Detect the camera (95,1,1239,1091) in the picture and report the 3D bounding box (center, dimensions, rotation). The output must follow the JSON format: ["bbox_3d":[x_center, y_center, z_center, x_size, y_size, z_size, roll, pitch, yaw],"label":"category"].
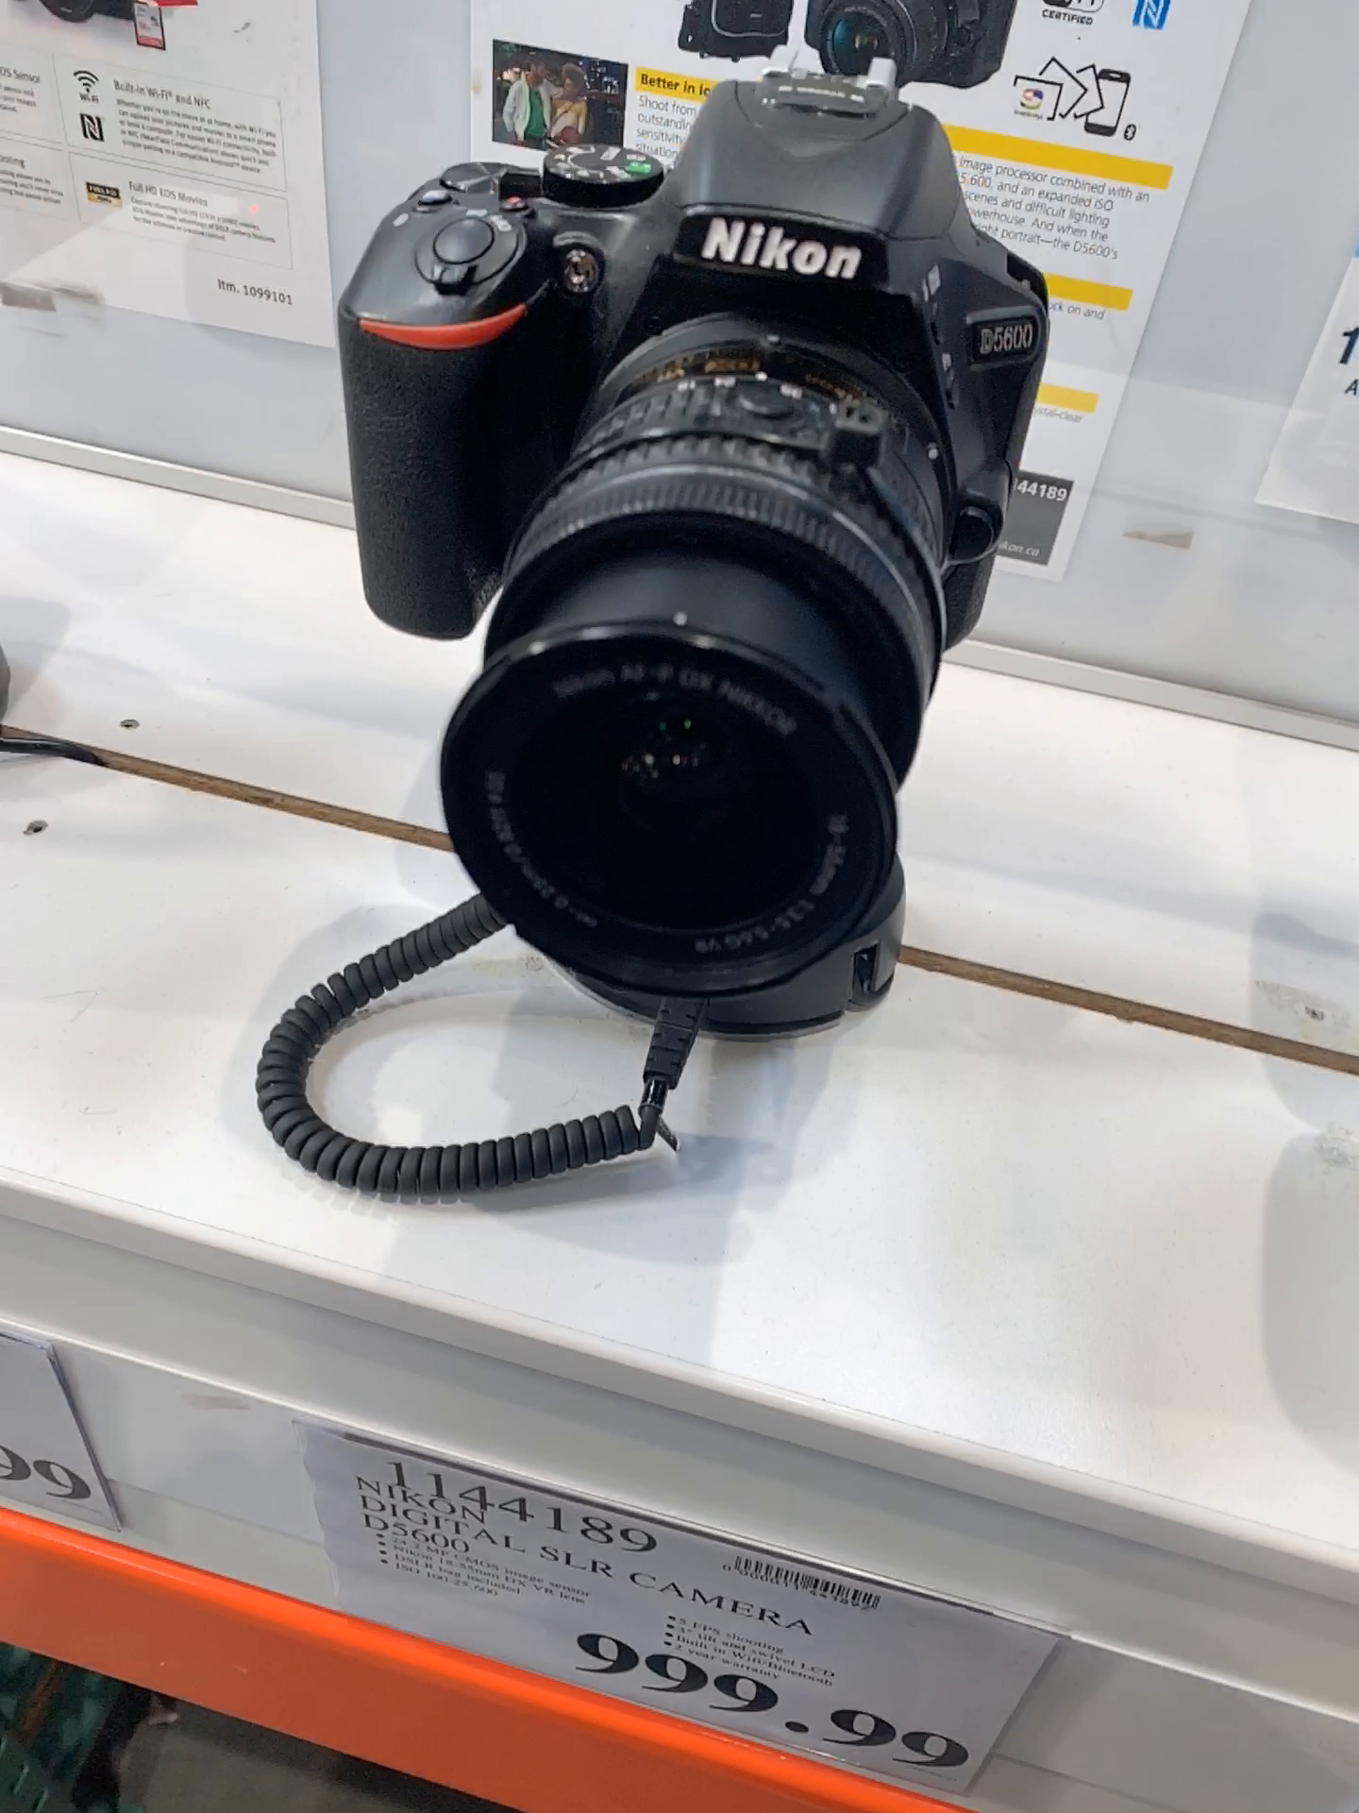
[{"bbox_3d":[0.006,-0.065,0.215,0.111,0.090,0.141,11,43,4],"label":"camera"}]
